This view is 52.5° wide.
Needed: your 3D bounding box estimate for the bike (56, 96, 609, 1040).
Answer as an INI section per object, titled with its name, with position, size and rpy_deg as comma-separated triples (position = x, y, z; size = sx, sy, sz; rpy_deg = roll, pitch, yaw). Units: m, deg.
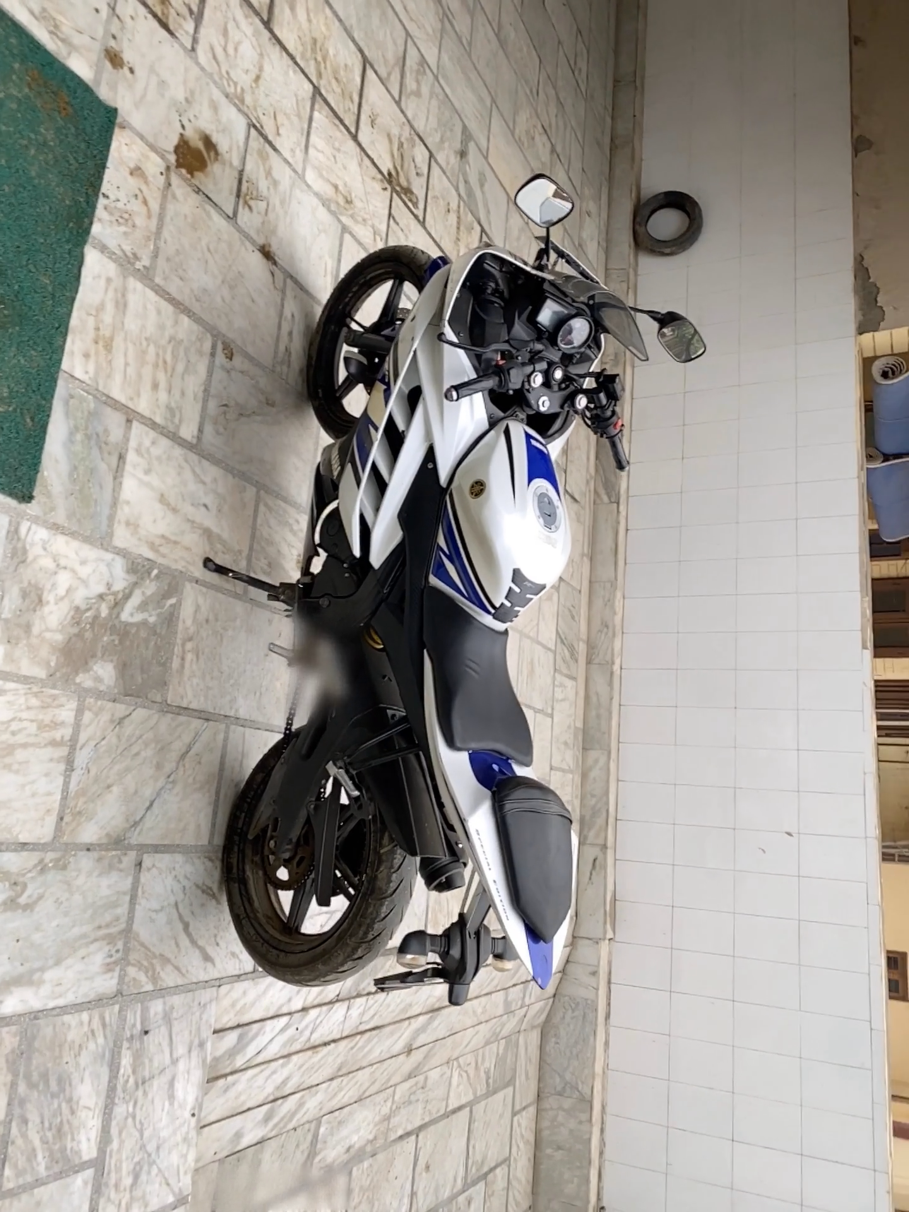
[bike]
position = -0.214, -0.111, 2.238
size = 0.737, 0.903, 1.881
rpy_deg = 33, 54, -59
